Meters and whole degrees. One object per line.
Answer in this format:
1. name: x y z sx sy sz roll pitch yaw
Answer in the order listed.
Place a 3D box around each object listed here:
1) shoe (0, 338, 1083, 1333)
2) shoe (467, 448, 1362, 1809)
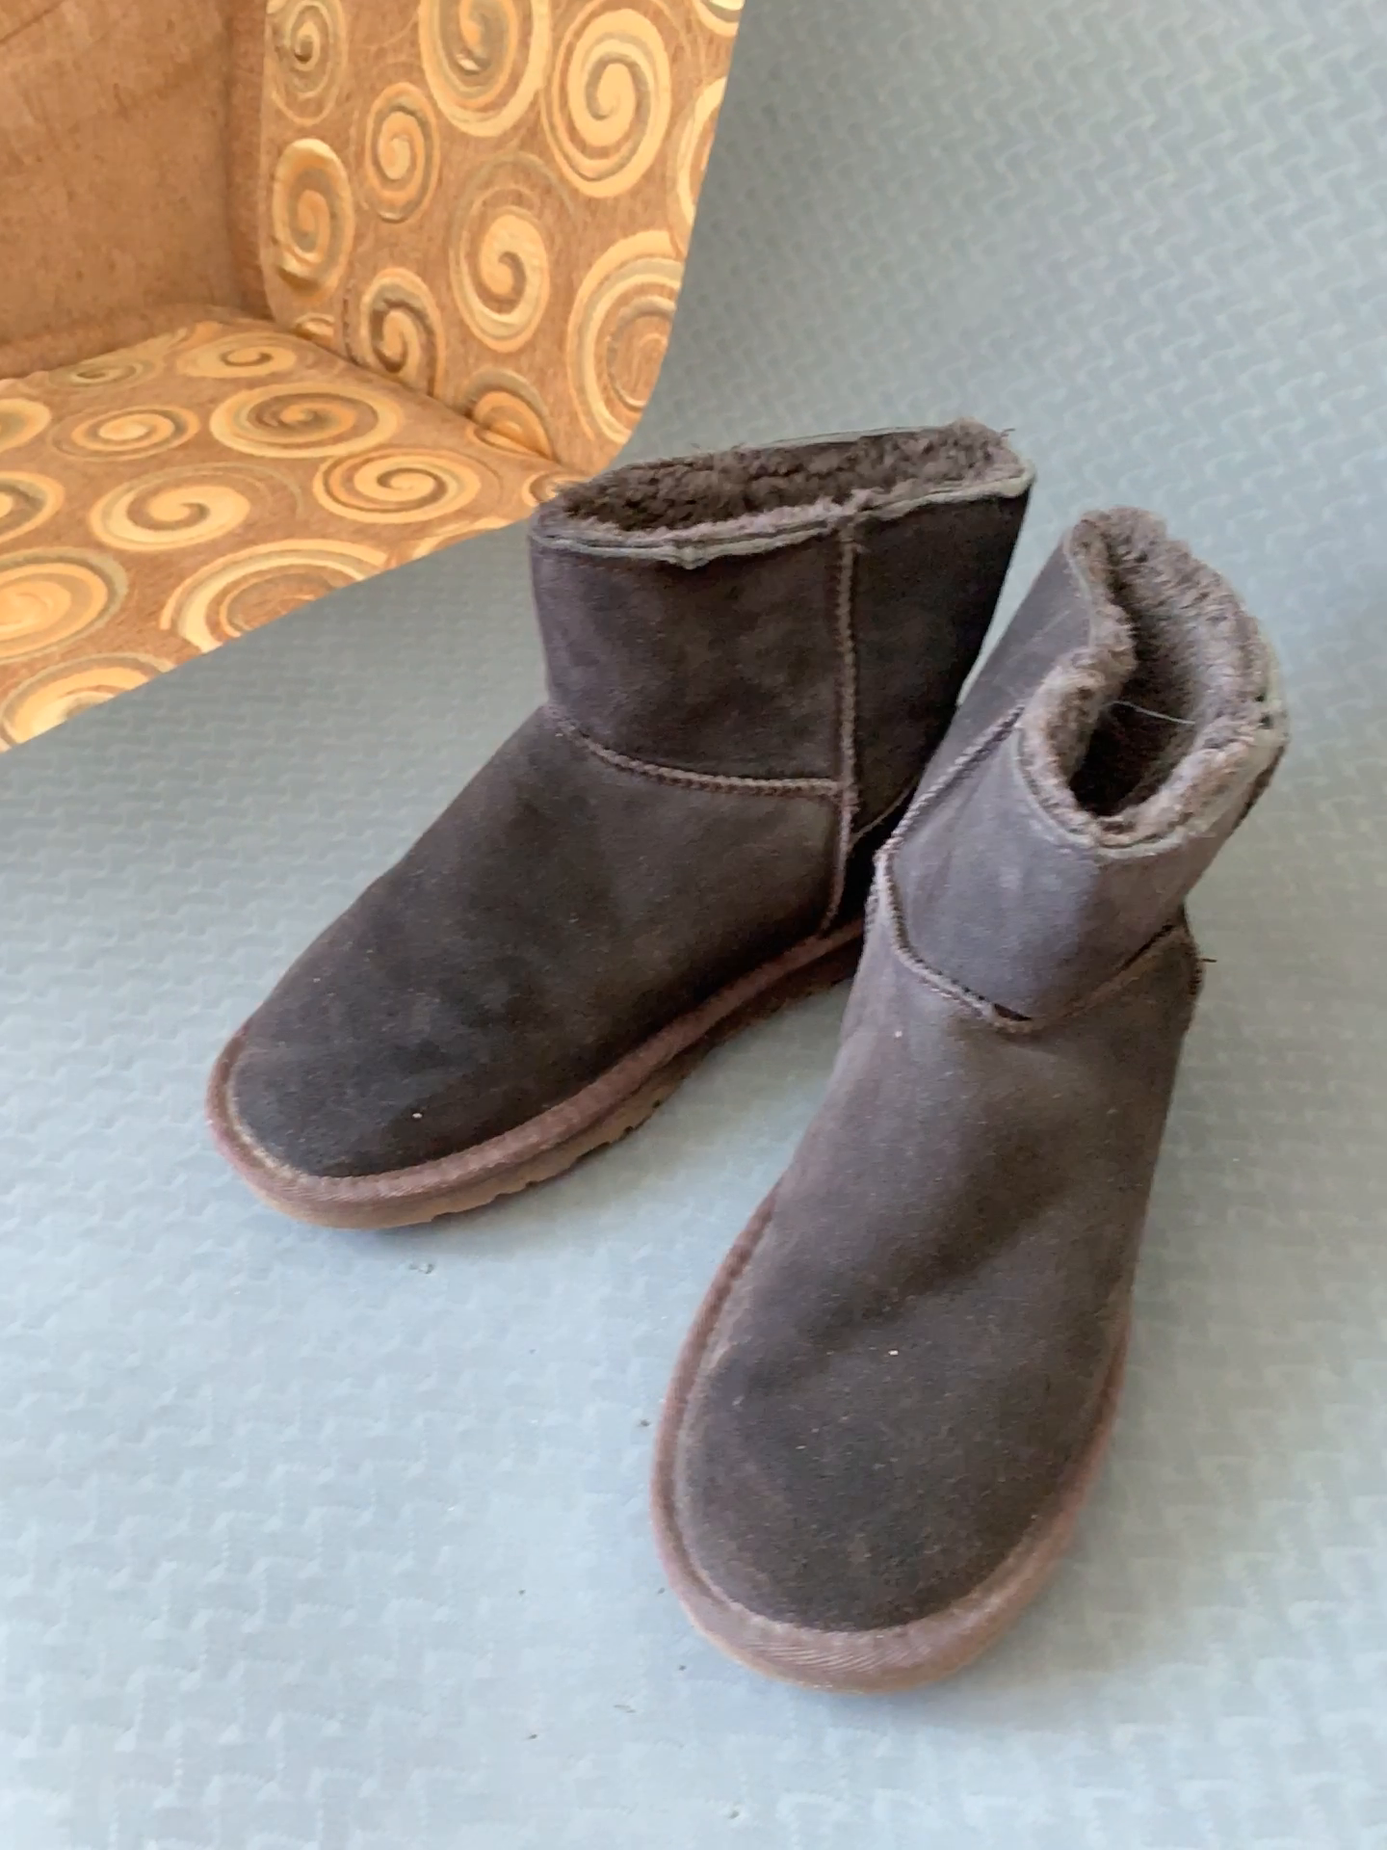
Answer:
1. shoe: -0.030 -0.034 0.385 0.253 0.139 0.100 -31 54 -24
2. shoe: 0.064 0.026 0.322 0.100 0.139 0.254 16 50 16
